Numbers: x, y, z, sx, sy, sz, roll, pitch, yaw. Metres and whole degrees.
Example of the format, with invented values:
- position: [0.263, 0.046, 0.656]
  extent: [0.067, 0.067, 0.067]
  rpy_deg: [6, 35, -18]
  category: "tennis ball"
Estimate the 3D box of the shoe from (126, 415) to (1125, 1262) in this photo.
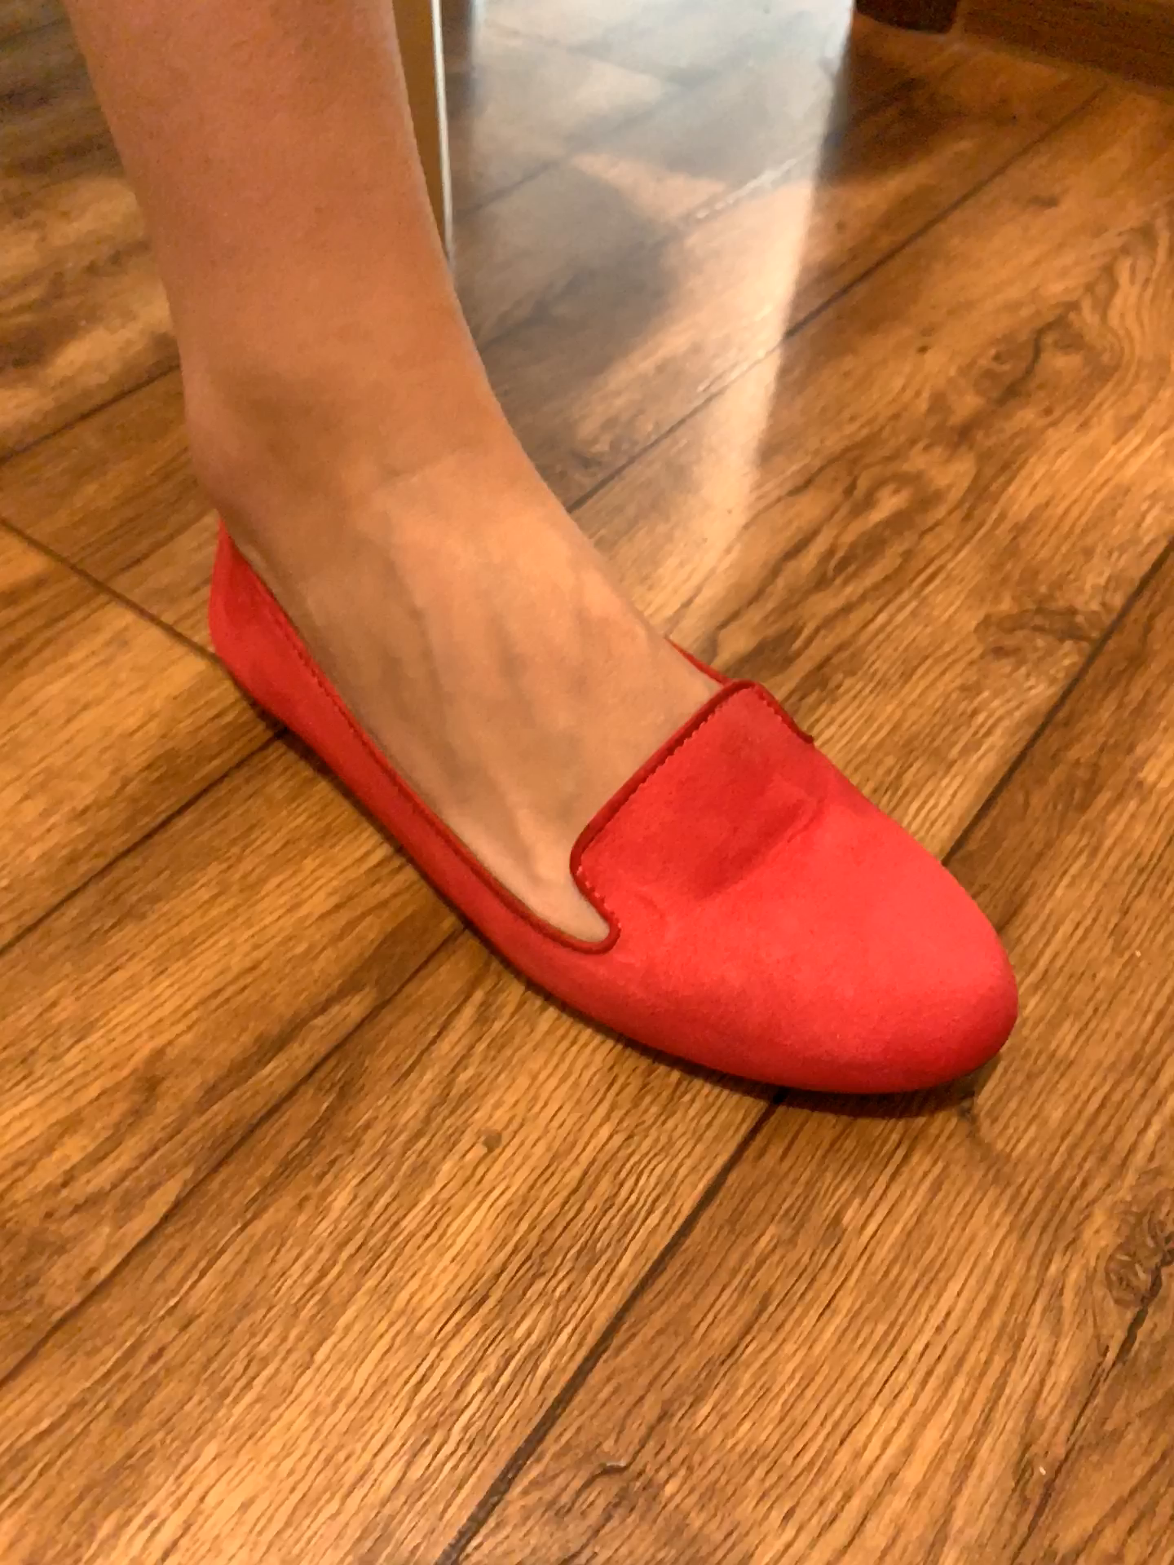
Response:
- position: [-0.003, -0.002, 0.295]
  extent: [0.220, 0.060, 0.087]
  rpy_deg: [35, 57, 25]
  category: "shoe"
